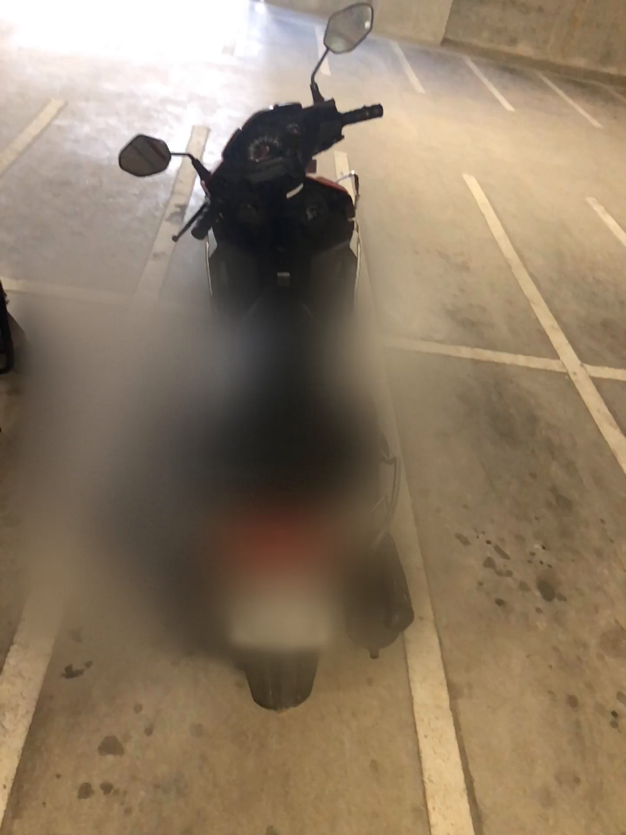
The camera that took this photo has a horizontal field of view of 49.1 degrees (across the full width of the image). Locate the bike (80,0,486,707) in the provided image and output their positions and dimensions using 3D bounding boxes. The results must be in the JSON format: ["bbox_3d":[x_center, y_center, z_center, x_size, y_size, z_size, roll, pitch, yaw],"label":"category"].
[{"bbox_3d":[-0.200,-0.447,2.014,0.582,1.187,1.962,5,43,-10],"label":"bike"}]
